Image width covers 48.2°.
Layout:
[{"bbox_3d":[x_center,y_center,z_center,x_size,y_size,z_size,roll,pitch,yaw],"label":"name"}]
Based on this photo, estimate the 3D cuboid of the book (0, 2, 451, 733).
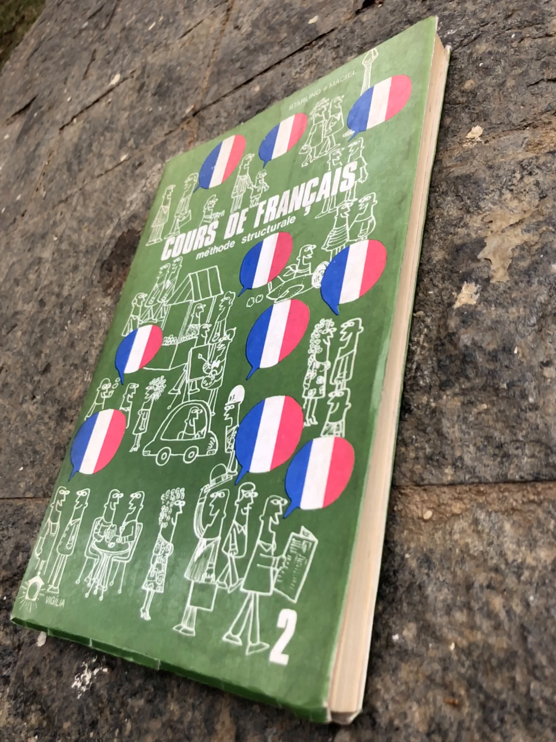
[{"bbox_3d":[-0.028,-0.012,0.222,0.167,0.013,0.211,-10,58,42],"label":"book"}]
